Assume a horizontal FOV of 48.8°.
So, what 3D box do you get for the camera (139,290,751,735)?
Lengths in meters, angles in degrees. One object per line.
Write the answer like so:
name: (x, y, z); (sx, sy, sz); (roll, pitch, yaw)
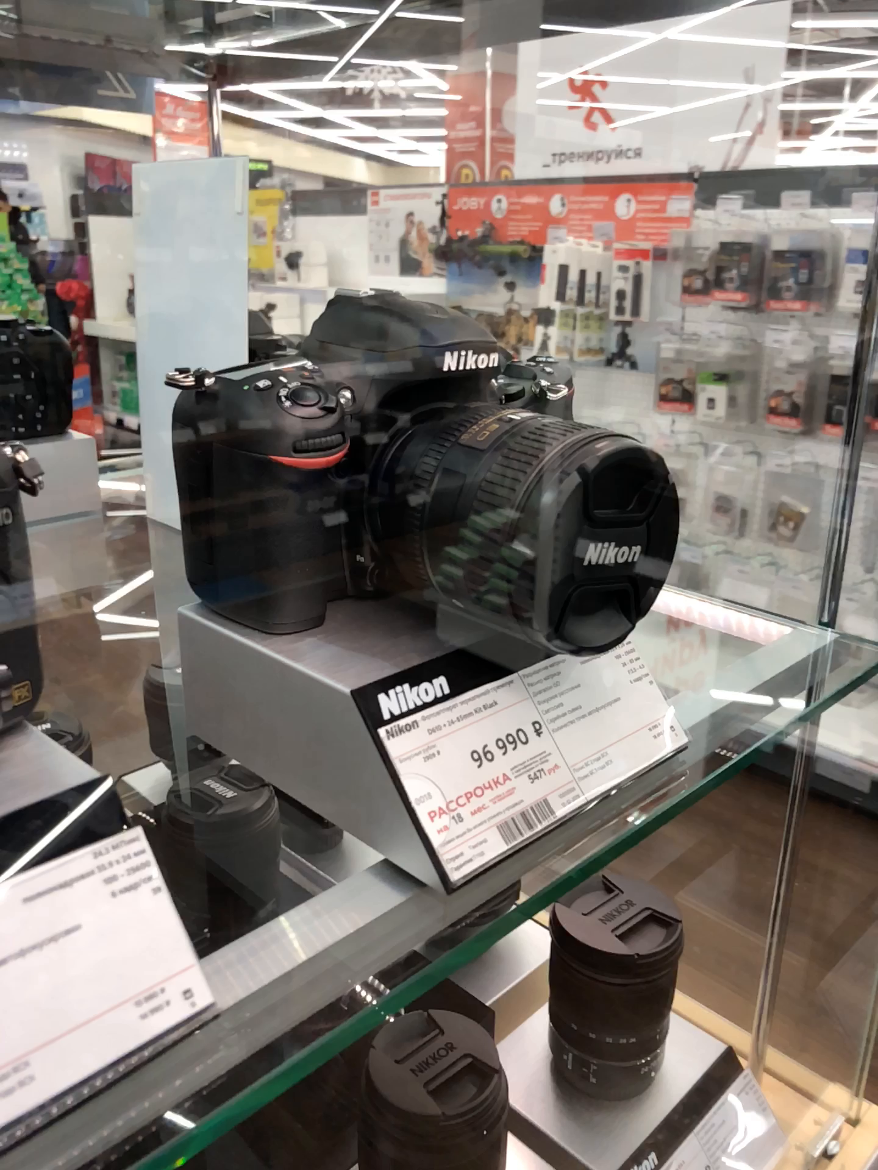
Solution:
camera: (-0.002, -0.045, 0.348); (0.148, 0.110, 0.150); (-14, 24, -36)
